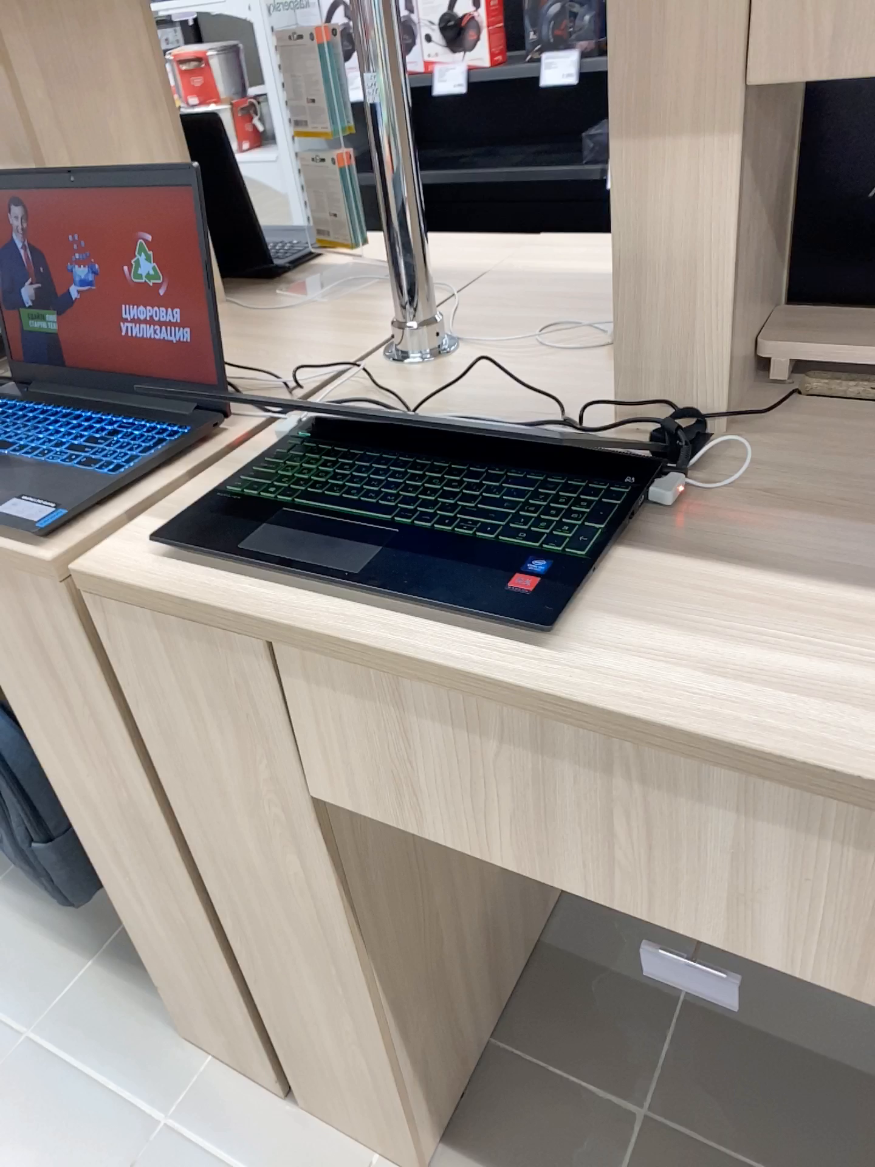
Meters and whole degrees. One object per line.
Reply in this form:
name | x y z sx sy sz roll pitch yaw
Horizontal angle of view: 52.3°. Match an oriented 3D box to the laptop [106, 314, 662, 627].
laptop | -0.036 -0.115 0.711 0.365 0.108 0.235 12 39 28
